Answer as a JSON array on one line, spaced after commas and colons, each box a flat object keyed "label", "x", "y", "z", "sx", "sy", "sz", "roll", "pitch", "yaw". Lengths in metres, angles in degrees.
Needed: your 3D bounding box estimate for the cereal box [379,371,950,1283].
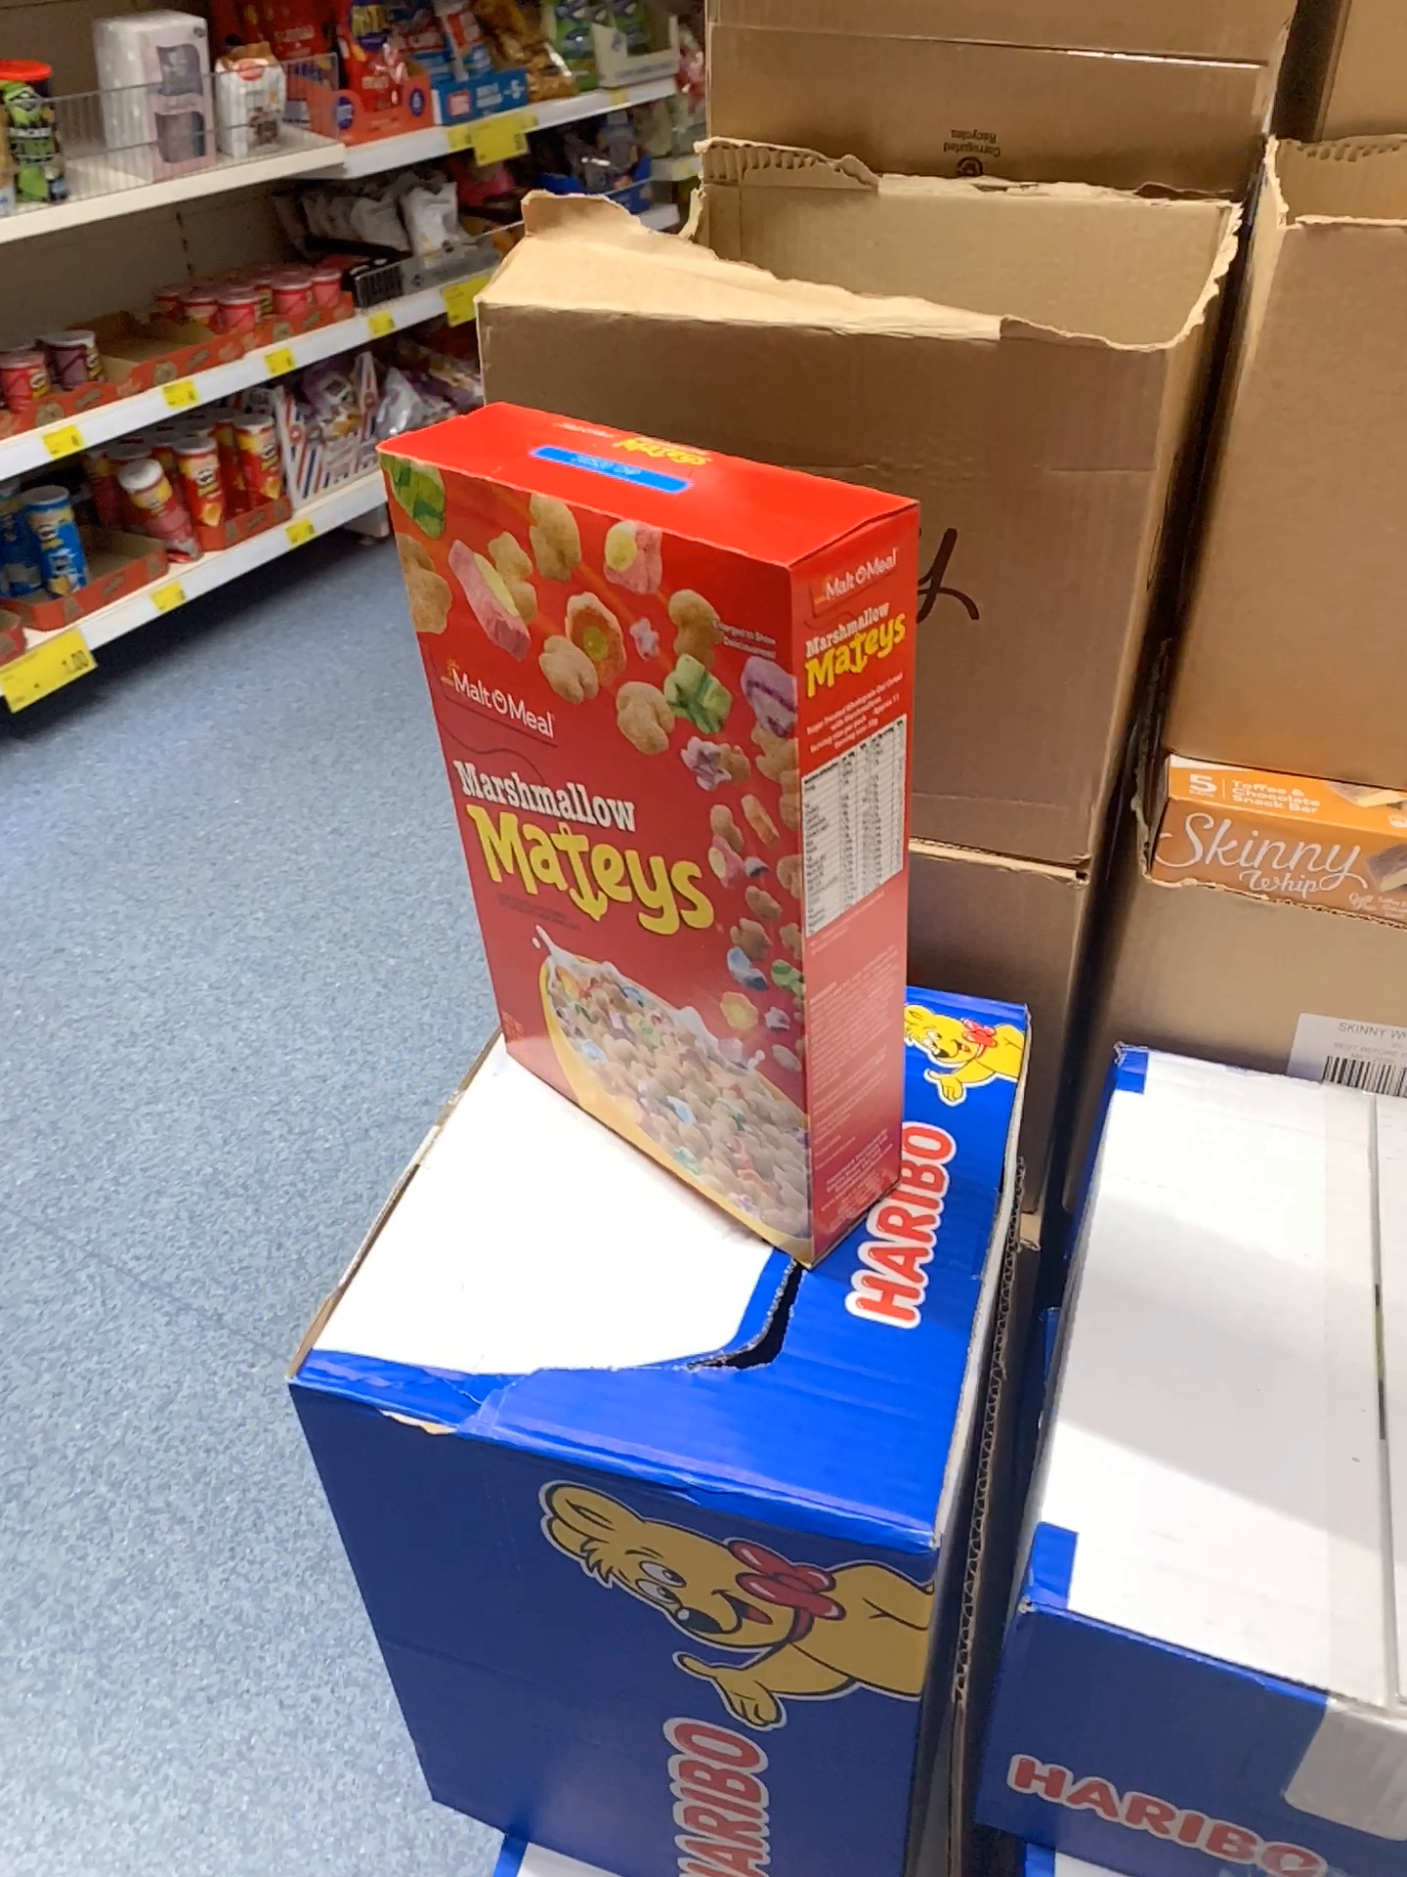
[{"label": "cereal box", "x": -0.009, "y": -0.040, "z": 0.534, "sx": 0.070, "sy": 0.287, "sz": 0.191, "roll": -32, "pitch": 43, "yaw": -32}]
